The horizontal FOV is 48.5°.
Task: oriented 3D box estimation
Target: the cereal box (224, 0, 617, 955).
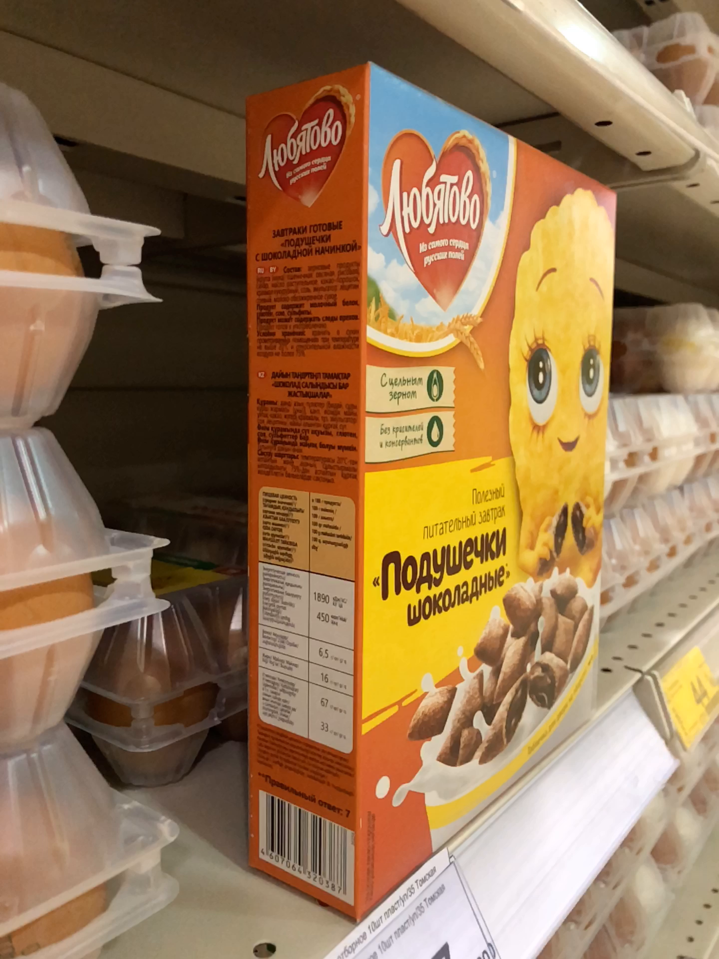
[{"bbox_3d":[0.034,-0.006,0.278,0.040,0.240,0.180,5,7,37],"label":"cereal box"}]
